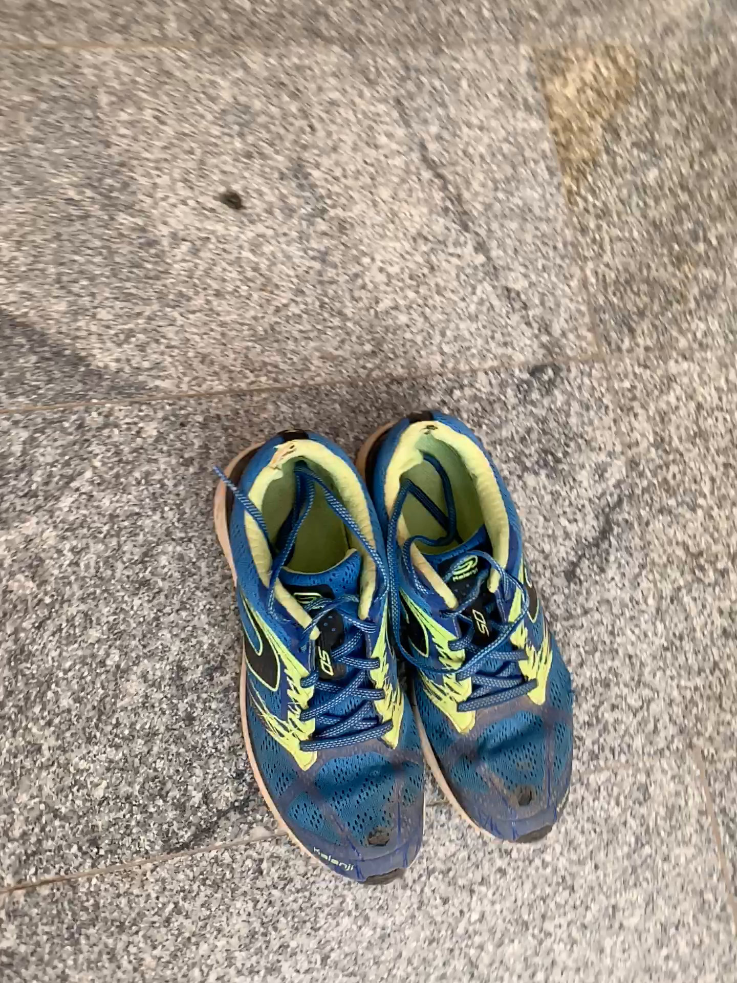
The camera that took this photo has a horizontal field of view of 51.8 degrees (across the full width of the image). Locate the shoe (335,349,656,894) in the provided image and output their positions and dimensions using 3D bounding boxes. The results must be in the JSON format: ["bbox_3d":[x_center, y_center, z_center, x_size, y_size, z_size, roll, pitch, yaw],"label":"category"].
[{"bbox_3d":[0.068,0.069,0.462,0.100,0.060,0.290,-16,78,0],"label":"shoe"}]

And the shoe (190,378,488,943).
[{"bbox_3d":[-0.024,0.086,0.452,0.110,0.060,0.290,-10,78,-9],"label":"shoe"}]
